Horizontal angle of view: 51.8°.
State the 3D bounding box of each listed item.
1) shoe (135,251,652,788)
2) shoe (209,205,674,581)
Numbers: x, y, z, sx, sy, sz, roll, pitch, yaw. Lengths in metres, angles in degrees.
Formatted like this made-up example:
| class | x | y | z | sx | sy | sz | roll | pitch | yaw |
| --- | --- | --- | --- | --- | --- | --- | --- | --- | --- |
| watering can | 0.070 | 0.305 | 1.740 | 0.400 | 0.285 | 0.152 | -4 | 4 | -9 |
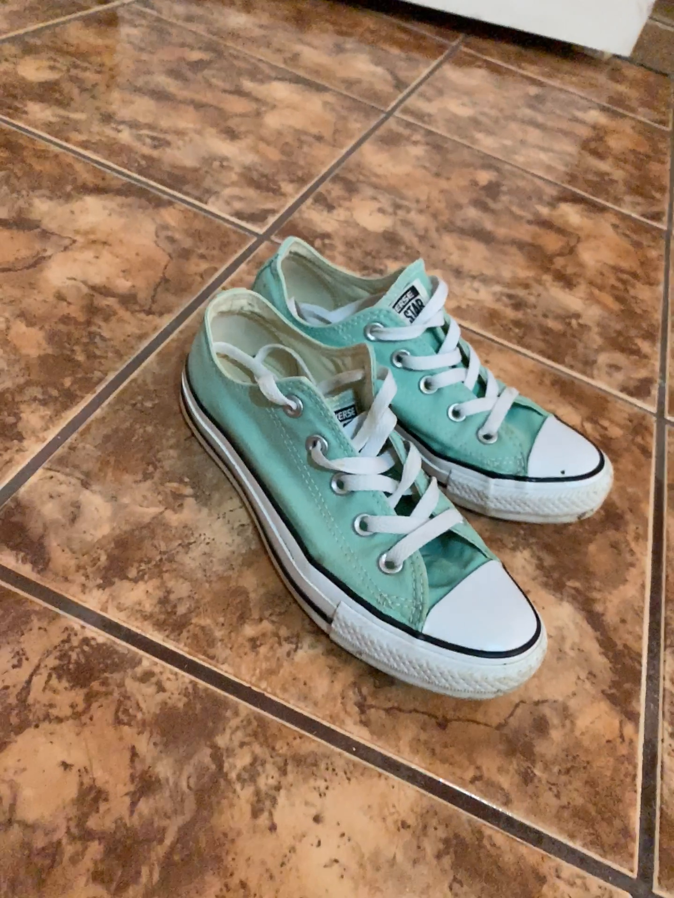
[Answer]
| class | x | y | z | sx | sy | sz | roll | pitch | yaw |
| --- | --- | --- | --- | --- | --- | --- | --- | --- | --- |
| shoe | 0.007 | 0.017 | 0.344 | 0.098 | 0.094 | 0.244 | -24 | 59 | -35 |
| shoe | 0.056 | -0.041 | 0.413 | 0.243 | 0.084 | 0.095 | 30 | 45 | 11 |
